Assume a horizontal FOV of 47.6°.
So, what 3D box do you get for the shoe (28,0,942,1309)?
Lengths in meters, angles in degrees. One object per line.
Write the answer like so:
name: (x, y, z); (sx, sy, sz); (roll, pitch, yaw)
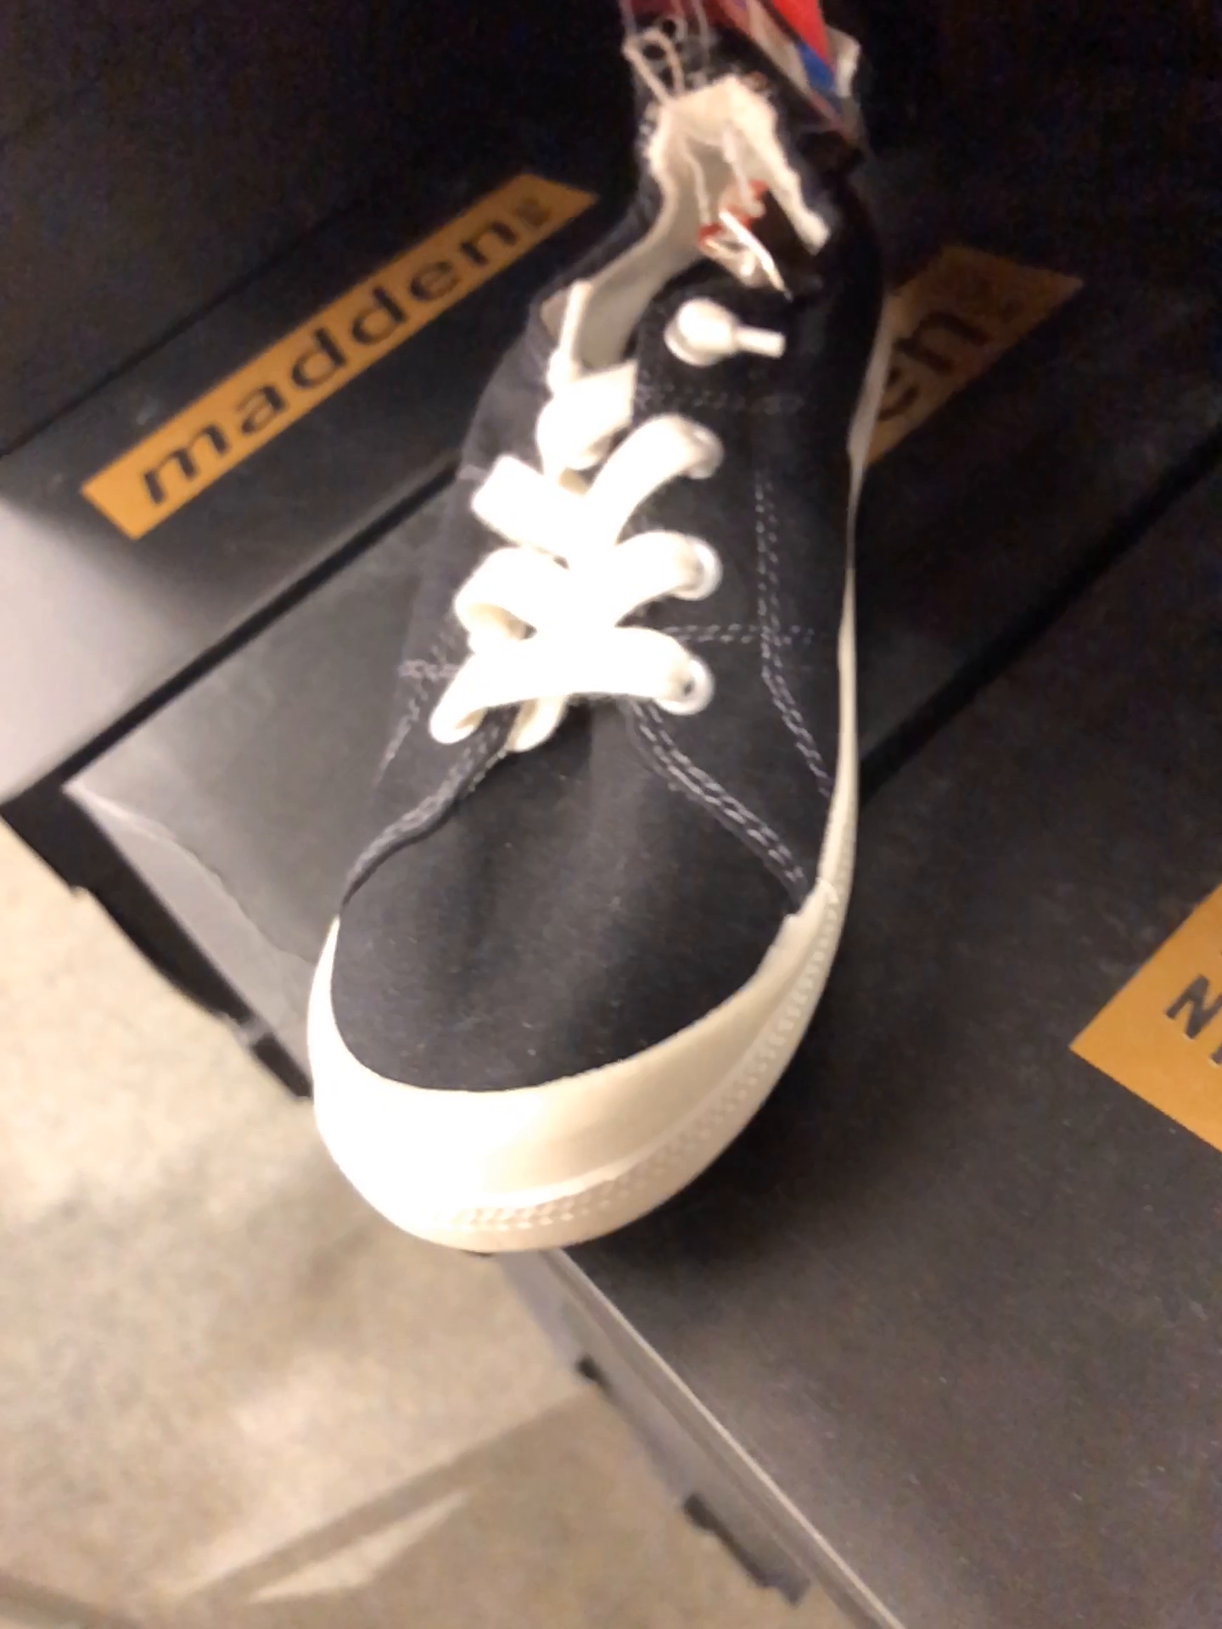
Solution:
shoe: (0.006, -0.050, 0.238); (0.080, 0.082, 0.235); (-3, 51, 20)
